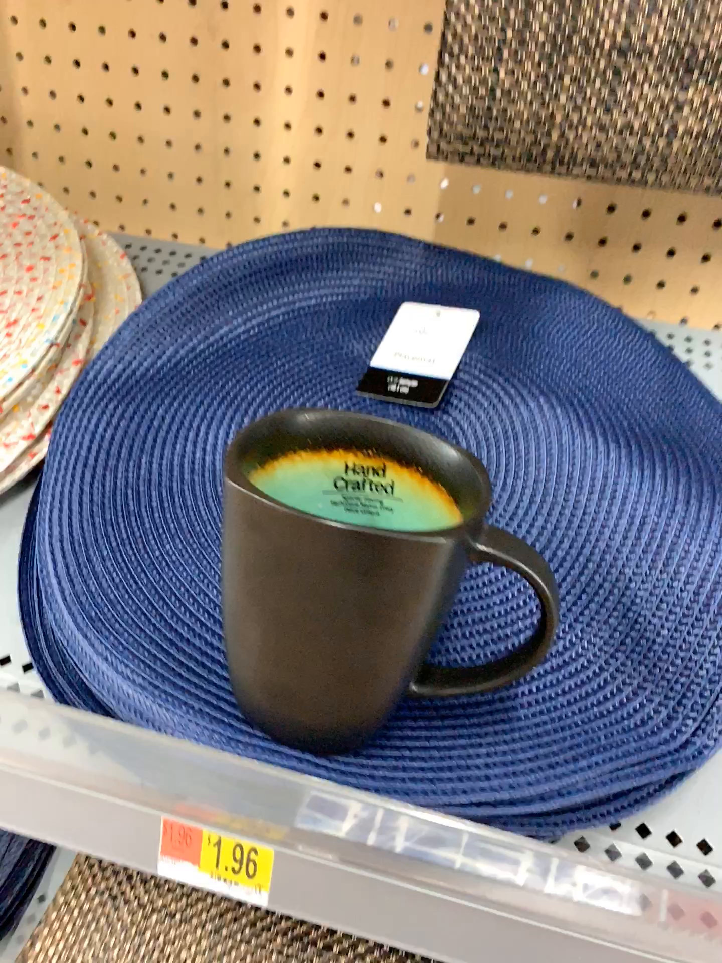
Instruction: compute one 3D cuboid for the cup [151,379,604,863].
[{"bbox_3d":[0.006,0.043,0.274,0.130,0.109,0.090,15,30,13],"label":"cup"}]
